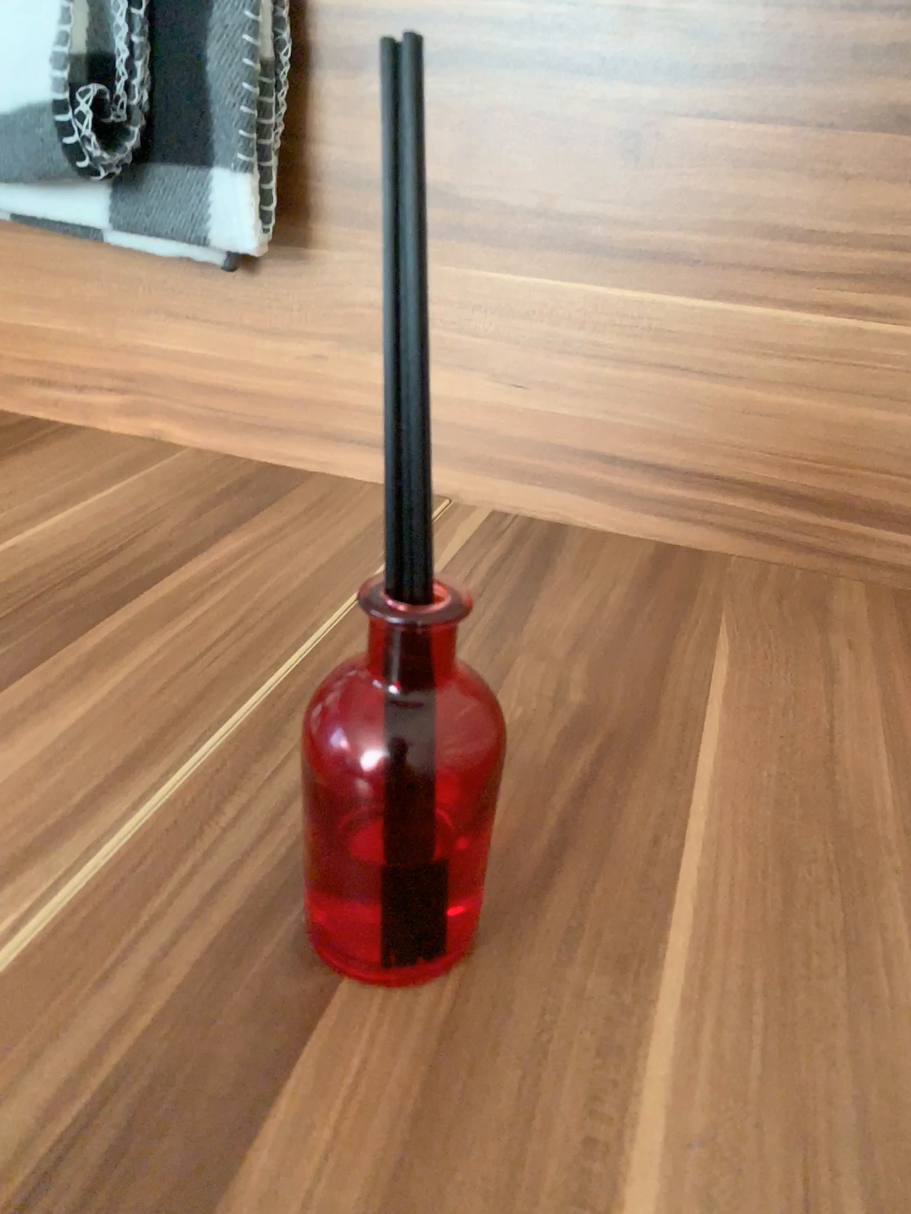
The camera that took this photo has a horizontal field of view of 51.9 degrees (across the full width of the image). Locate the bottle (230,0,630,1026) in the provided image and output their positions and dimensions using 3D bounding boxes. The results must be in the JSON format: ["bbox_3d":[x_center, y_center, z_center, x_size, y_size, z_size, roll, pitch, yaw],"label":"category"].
[{"bbox_3d":[-0.012,-0.009,0.231,0.060,0.239,0.050,15,29,18],"label":"bottle"}]
